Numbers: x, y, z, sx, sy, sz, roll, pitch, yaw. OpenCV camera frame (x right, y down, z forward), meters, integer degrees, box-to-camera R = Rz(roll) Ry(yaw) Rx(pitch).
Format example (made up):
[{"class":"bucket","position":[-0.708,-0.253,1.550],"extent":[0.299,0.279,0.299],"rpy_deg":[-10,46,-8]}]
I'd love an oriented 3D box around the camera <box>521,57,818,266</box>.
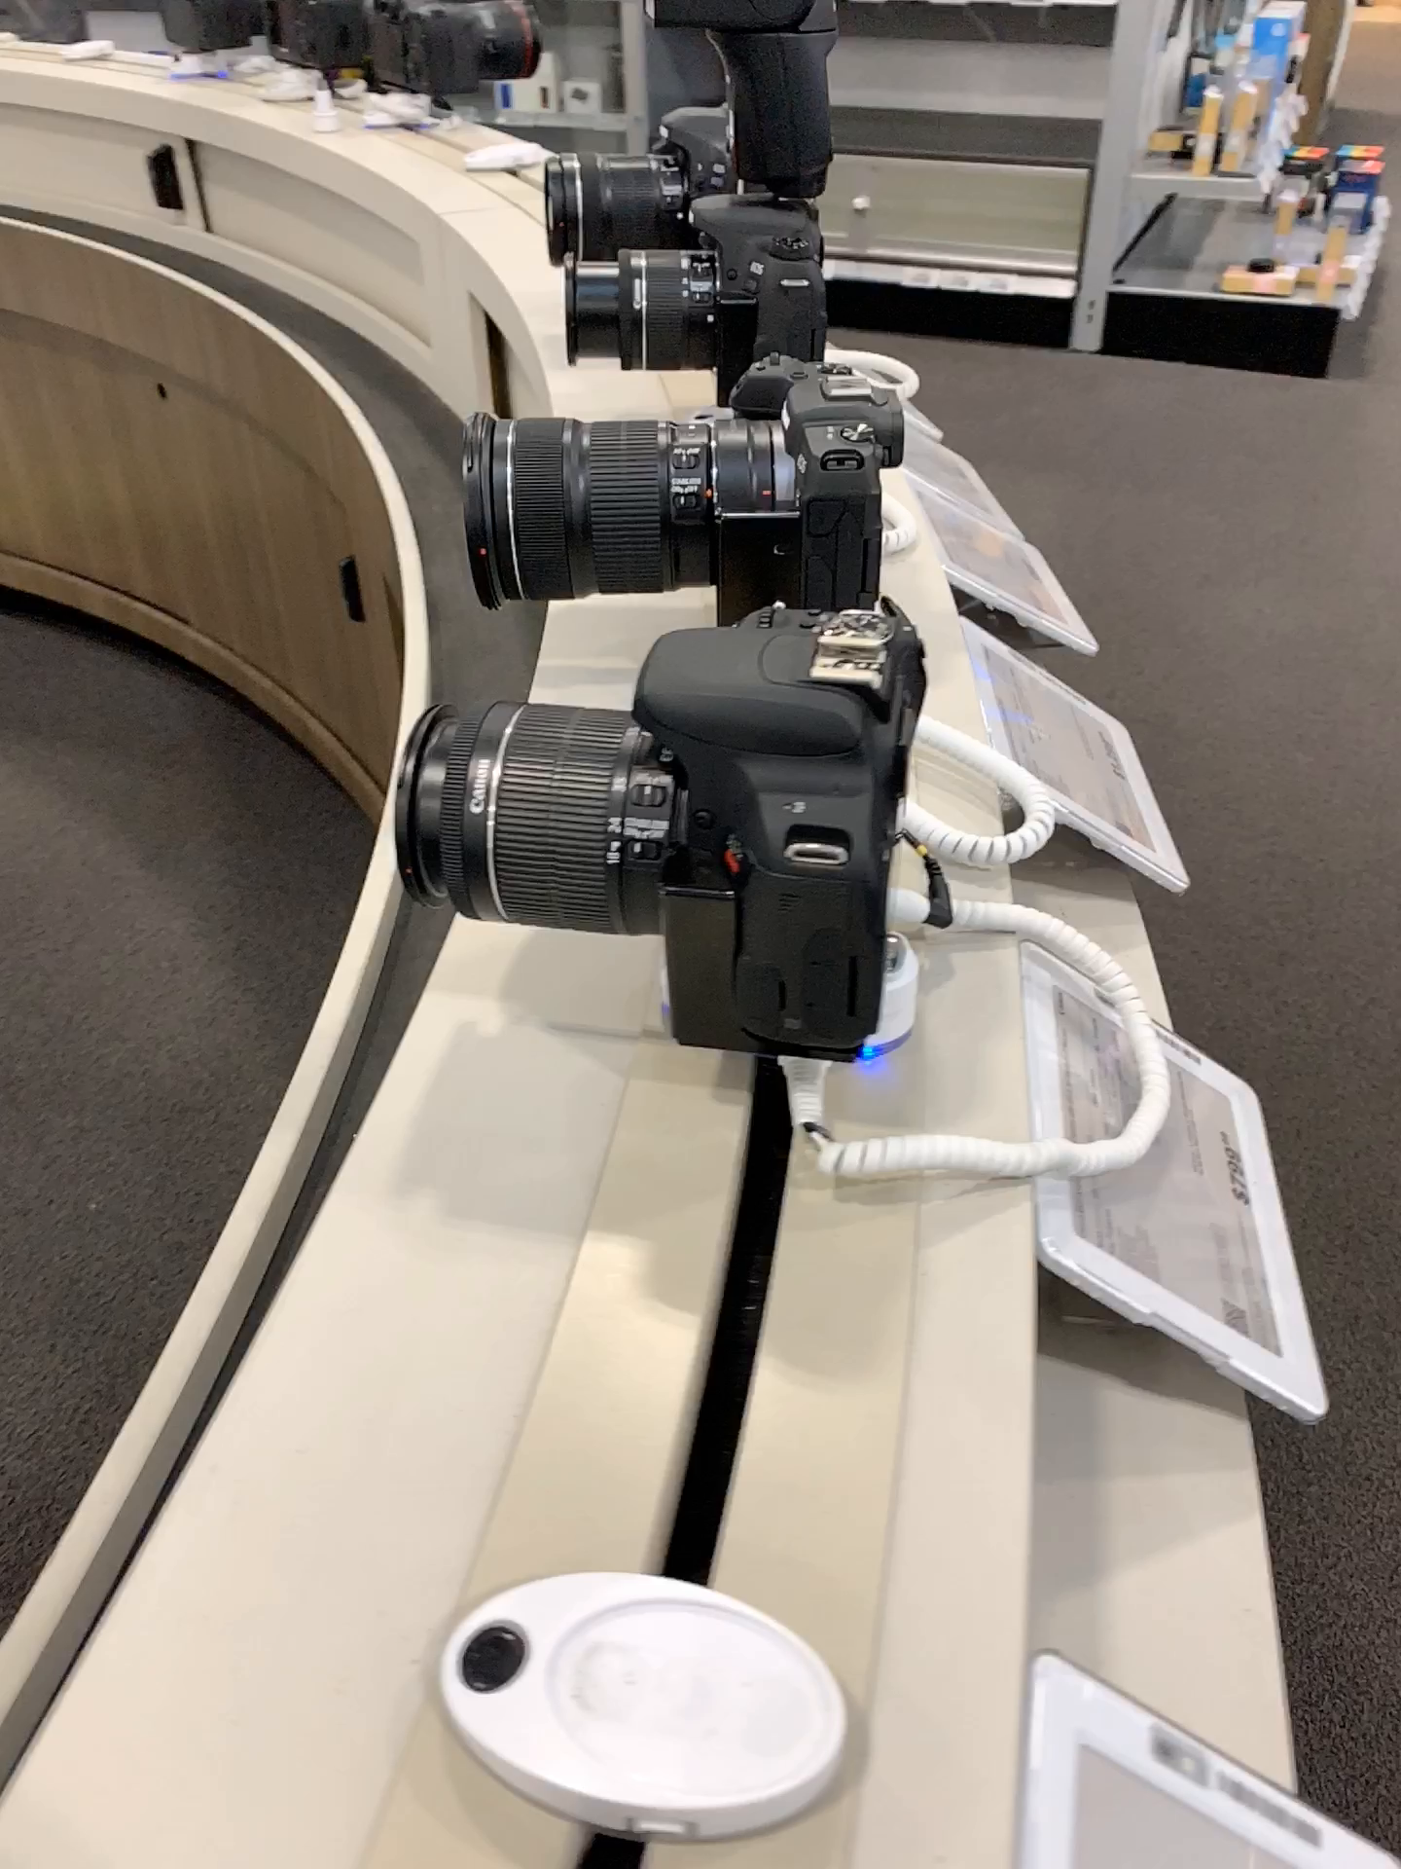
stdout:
[{"class":"camera","position":[-0.025,-0.558,1.034],"extent":[0.190,0.099,0.141],"rpy_deg":[-6,39,-6]}]

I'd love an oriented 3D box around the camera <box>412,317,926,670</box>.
[{"class":"camera","position":[-0.014,-0.201,0.646],"extent":[0.200,0.099,0.141],"rpy_deg":[-2,39,-1]}]

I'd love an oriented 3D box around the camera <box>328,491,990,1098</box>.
[{"class":"camera","position":[-0.001,-0.051,0.459],"extent":[0.170,0.119,0.151],"rpy_deg":[4,39,7]}]

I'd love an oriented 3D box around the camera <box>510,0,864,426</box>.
[{"class":"camera","position":[-0.008,-0.428,0.817],"extent":[0.170,0.219,0.151],"rpy_deg":[-3,39,-2]}]
